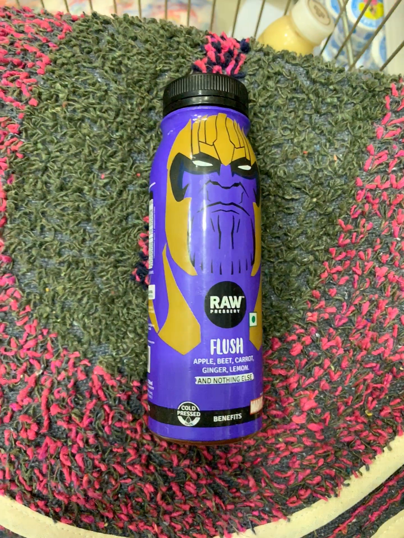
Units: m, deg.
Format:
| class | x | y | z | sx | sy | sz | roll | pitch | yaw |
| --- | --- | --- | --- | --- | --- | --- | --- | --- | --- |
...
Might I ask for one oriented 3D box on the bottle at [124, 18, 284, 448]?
| class | x | y | z | sx | sy | sz | roll | pitch | yaw |
| --- | --- | --- | --- | --- | --- | --- | --- | --- | --- |
| bottle | -0.001 | -0.015 | 0.195 | 0.060 | 0.050 | 0.170 | 2 | 83 | -13 |
